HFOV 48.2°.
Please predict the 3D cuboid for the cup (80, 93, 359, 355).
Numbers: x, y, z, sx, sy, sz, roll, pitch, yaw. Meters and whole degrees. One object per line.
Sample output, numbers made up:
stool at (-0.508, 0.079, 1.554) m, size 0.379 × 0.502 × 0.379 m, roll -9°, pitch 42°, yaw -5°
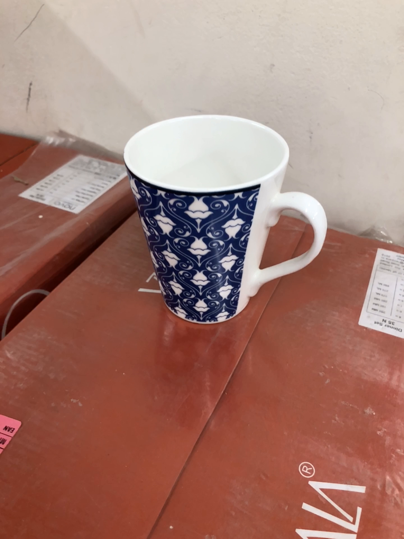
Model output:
cup at (0.013, -0.028, 0.255) m, size 0.120 × 0.099 × 0.081 m, roll 12°, pitch 42°, yaw 13°
